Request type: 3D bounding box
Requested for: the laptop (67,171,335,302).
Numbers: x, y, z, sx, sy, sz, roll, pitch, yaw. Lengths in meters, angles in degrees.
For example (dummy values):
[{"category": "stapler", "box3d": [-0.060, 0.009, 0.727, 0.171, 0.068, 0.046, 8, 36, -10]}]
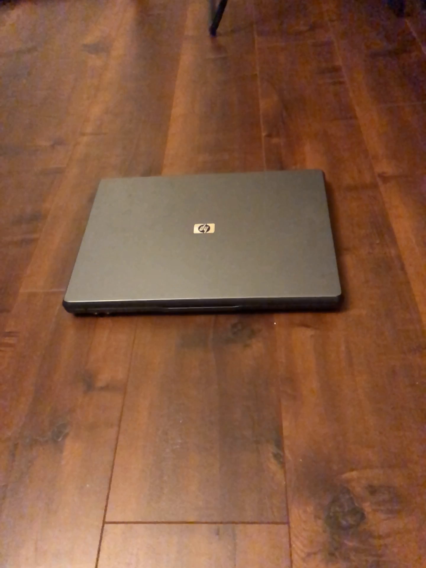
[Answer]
[{"category": "laptop", "box3d": [-0.012, -0.069, 0.605, 0.309, 0.005, 0.217, -2, 51, 5]}]
